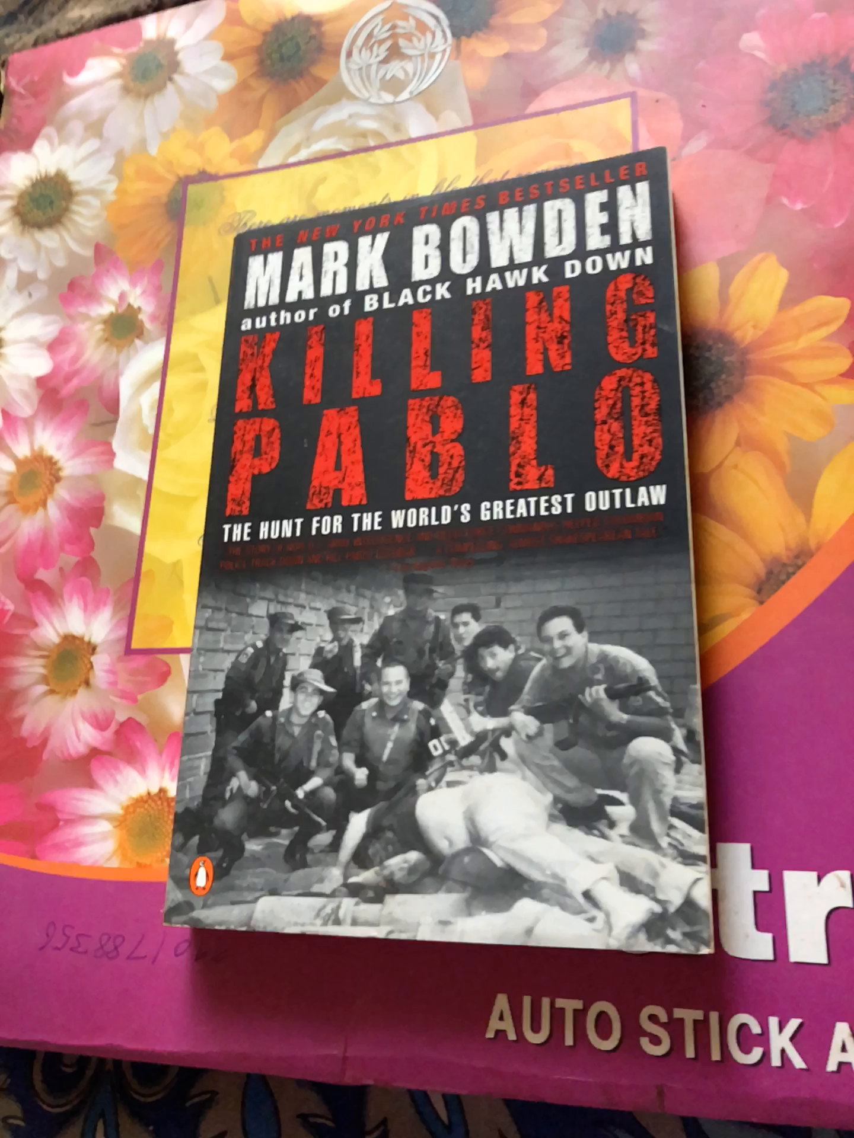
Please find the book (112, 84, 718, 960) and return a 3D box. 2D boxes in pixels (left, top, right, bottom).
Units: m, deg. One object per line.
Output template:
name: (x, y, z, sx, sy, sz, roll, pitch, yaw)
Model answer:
book: (-0.003, -0.017, 0.274, 0.150, 0.030, 0.230, -6, 69, 22)
